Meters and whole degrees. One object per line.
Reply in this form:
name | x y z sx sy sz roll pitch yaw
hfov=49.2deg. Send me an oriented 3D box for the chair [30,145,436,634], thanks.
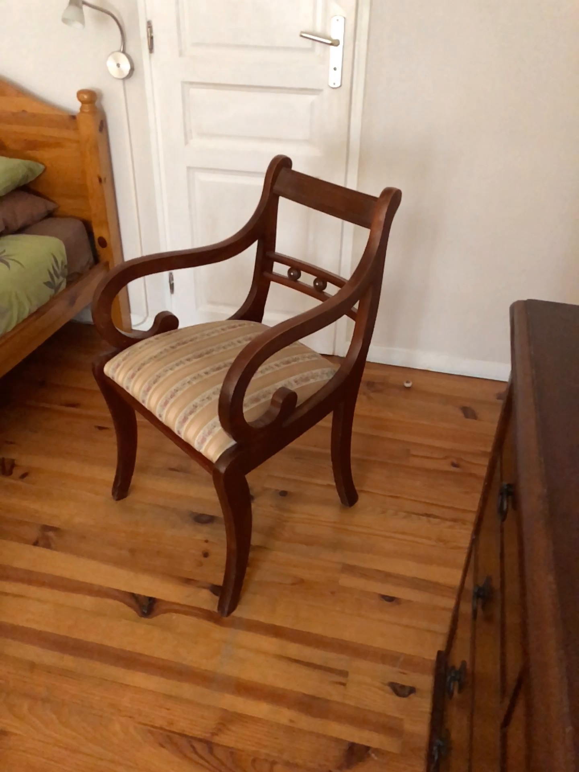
chair | -0.131 -0.045 1.461 0.572 0.825 0.581 -22 38 -34
